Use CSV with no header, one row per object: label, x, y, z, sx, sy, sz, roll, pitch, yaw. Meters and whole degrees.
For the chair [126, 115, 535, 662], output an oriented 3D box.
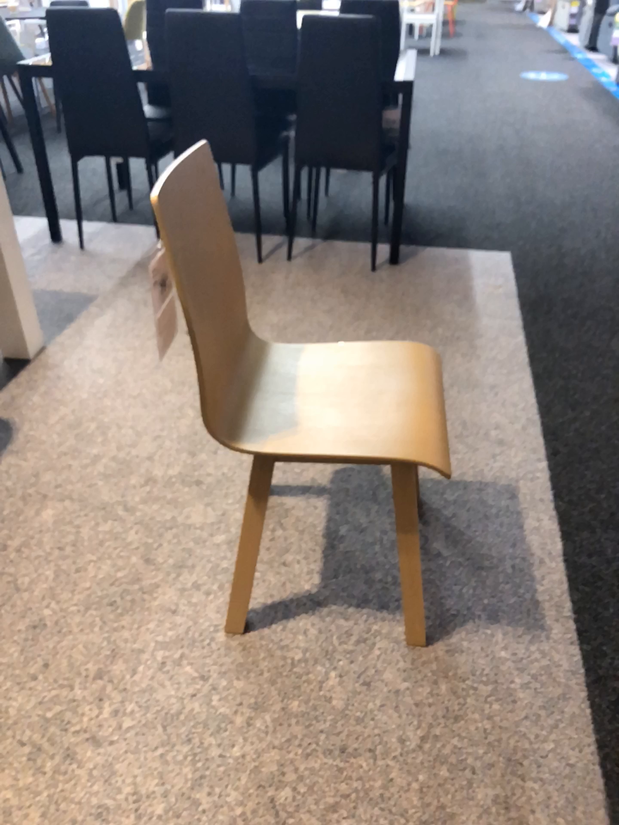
chair,0.036,-0.043,1.266,0.490,0.835,0.523,3,34,3
